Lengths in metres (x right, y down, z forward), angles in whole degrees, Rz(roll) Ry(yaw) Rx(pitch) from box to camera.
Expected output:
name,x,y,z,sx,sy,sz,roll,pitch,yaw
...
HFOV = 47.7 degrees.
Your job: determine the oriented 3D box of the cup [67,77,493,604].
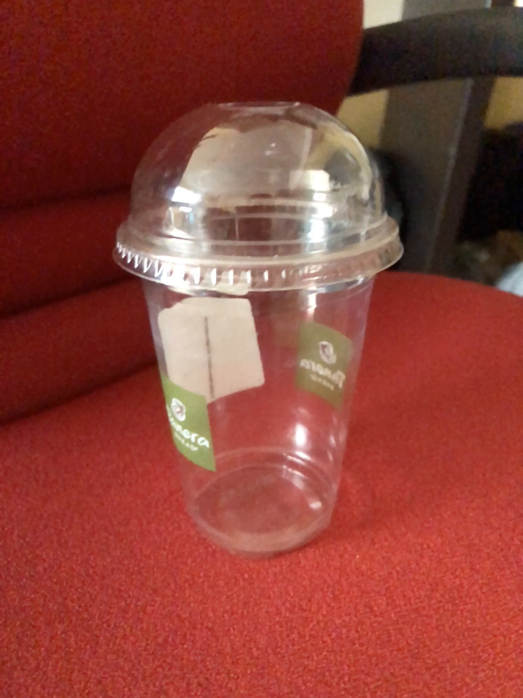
name,x,y,z,sx,sy,sz,roll,pitch,yaw
cup,0.009,-0.015,0.217,0.090,0.150,0.100,21,33,40
